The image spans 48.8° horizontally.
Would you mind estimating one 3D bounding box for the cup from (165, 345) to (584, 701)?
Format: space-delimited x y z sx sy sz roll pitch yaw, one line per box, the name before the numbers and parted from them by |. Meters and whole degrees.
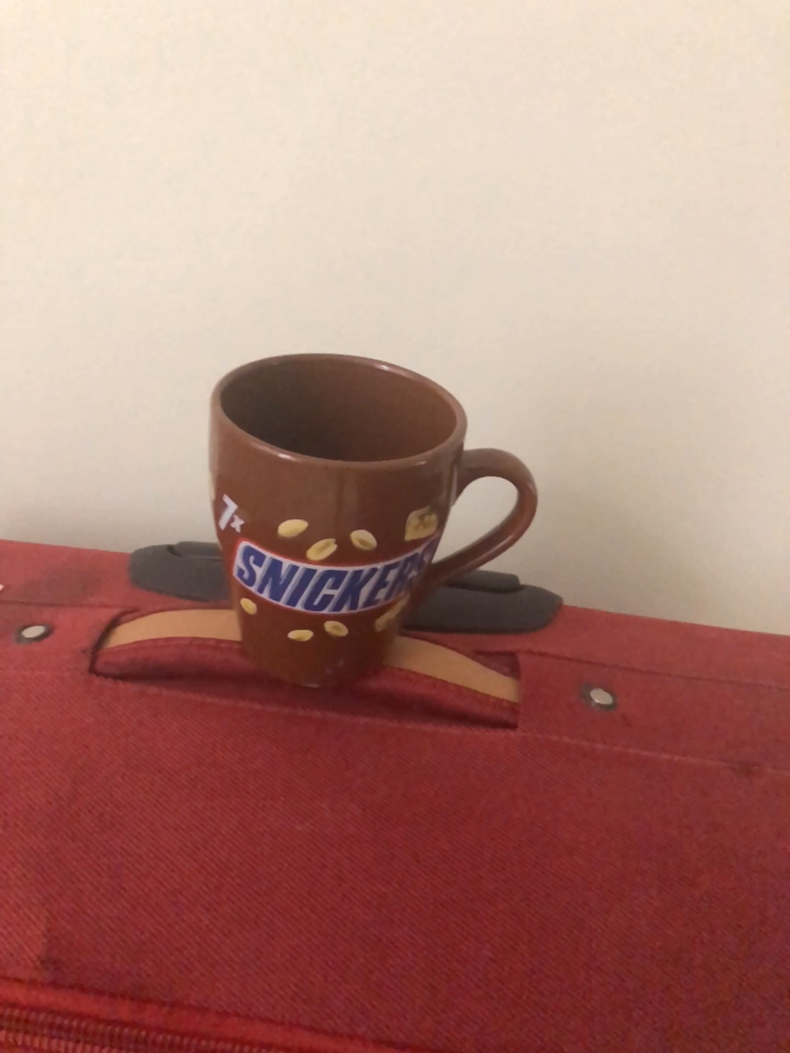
cup | -0.007 -0.004 0.296 0.115 0.080 0.088 3 32 -1
